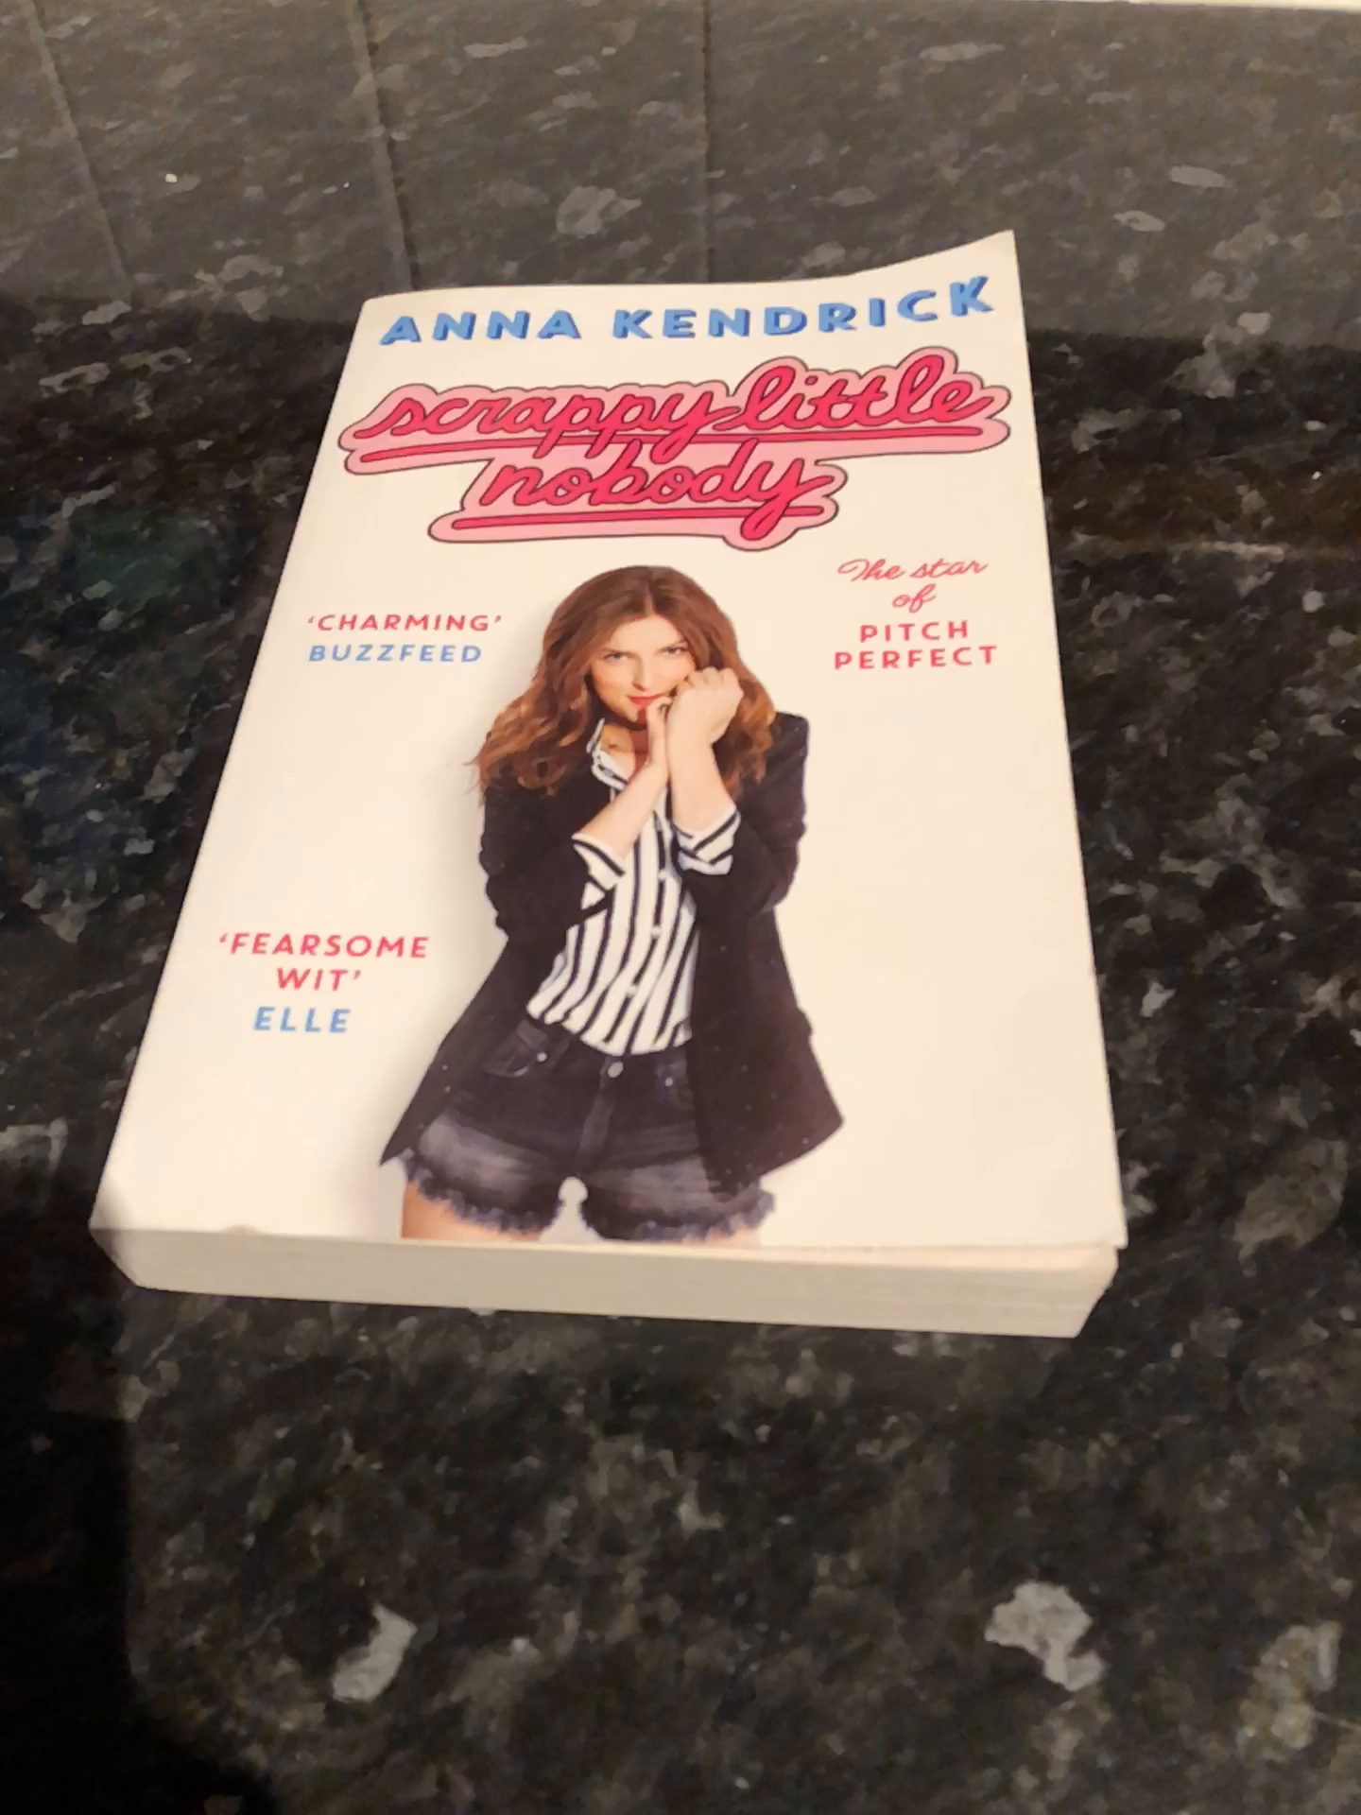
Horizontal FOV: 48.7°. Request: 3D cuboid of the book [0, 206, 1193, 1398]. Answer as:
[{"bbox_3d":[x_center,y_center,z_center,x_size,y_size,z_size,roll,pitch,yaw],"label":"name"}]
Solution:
[{"bbox_3d":[-0.005,-0.035,0.252,0.140,0.050,0.211,2,55,3],"label":"book"}]
